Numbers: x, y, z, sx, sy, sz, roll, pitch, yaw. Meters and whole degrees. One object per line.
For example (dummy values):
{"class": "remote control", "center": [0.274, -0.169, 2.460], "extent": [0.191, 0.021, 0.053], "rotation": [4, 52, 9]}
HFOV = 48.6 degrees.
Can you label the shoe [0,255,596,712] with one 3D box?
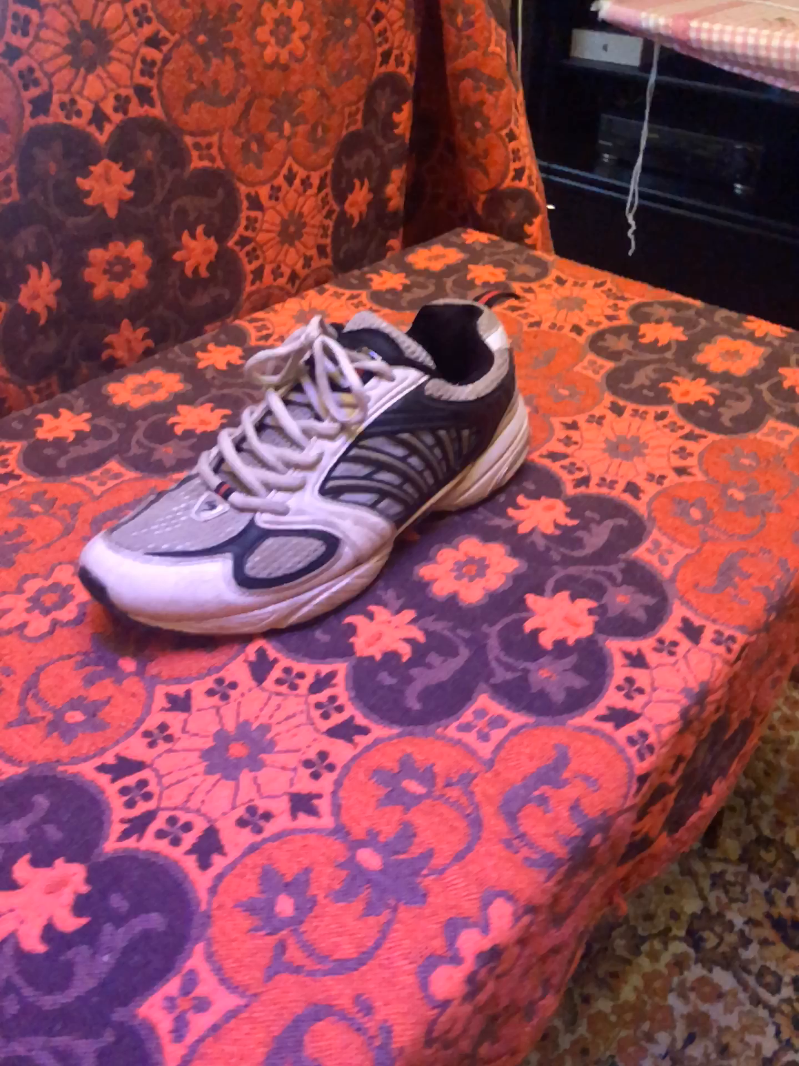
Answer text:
{"class": "shoe", "center": [-0.033, -0.052, 0.484], "extent": [0.120, 0.090, 0.311], "rotation": [28, 46, 32]}
